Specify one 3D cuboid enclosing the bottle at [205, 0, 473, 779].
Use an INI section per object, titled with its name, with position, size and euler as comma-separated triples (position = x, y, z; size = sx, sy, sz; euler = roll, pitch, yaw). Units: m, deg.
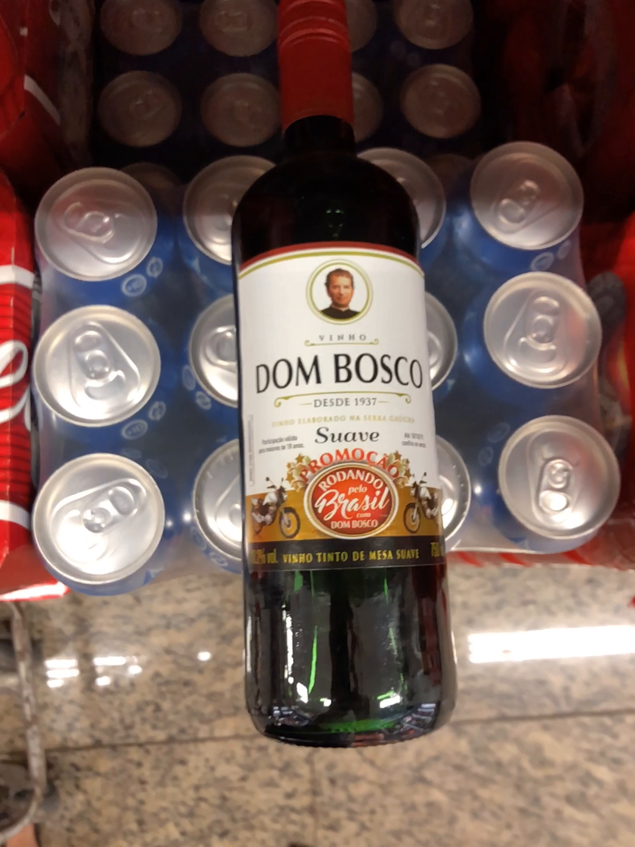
[bottle]
position = 0.002, -0.034, 0.279
size = 0.080, 0.070, 0.300
euler = -2, 82, -3
